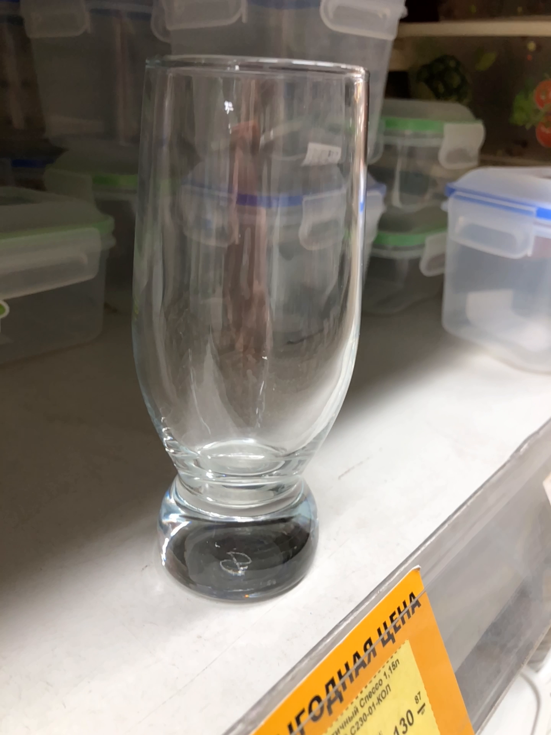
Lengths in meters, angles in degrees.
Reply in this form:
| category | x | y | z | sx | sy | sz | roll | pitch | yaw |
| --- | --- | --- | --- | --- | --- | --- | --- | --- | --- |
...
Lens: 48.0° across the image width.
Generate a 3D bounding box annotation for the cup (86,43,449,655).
| category | x | y | z | sx | sy | sz | roll | pitch | yaw |
| --- | --- | --- | --- | --- | --- | --- | --- | --- | --- |
| cup | -0.008 | -0.008 | 0.179 | 0.057 | 0.146 | 0.069 | -17 | 31 | -41 |
